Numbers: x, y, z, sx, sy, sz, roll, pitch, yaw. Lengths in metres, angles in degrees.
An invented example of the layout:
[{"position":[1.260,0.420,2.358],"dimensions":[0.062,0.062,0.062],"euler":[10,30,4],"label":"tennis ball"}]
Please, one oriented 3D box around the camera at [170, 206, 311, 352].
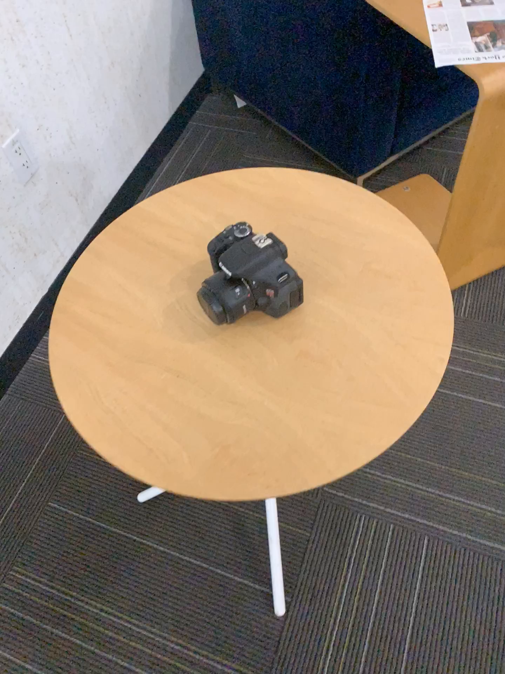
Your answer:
[{"position":[-0.013,-0.076,0.658],"dimensions":[0.125,0.080,0.120],"euler":[-36,60,-17],"label":"camera"}]
